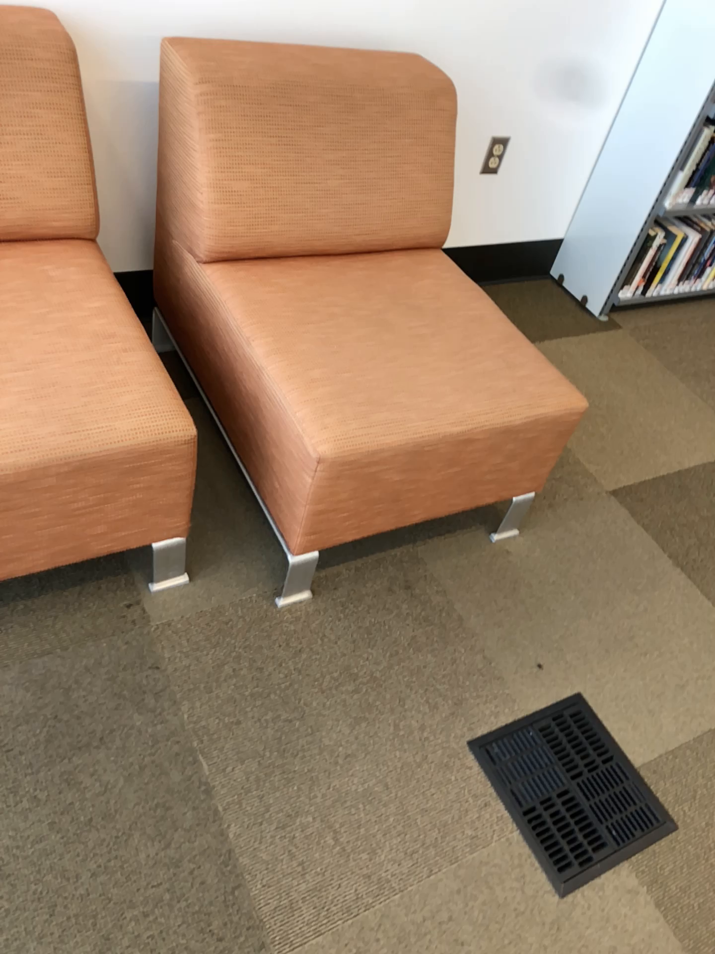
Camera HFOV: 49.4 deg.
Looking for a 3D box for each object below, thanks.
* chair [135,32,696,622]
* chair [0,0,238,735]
[{"bbox_3d":[-0.005,-0.367,1.698,0.695,0.759,0.925,-13,50,-27],"label":"chair"},{"bbox_3d":[-0.789,-0.270,1.412,0.765,0.809,0.935,-14,51,-28],"label":"chair"}]
